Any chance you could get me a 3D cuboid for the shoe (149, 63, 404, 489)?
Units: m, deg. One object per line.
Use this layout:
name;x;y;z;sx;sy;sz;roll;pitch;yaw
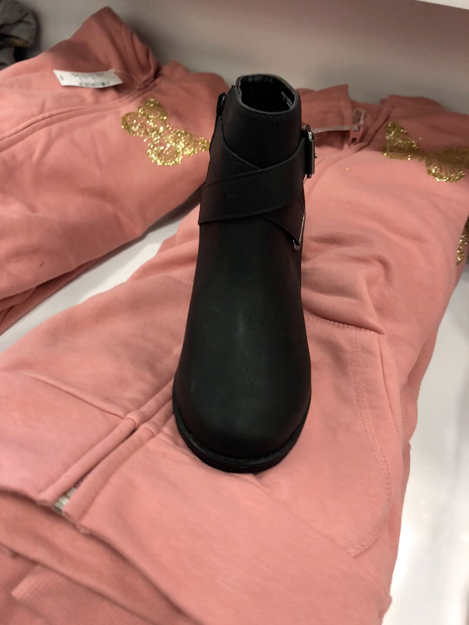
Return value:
shoe;0.010;-0.033;0.282;0.080;0.129;0.201;4;41;-2
